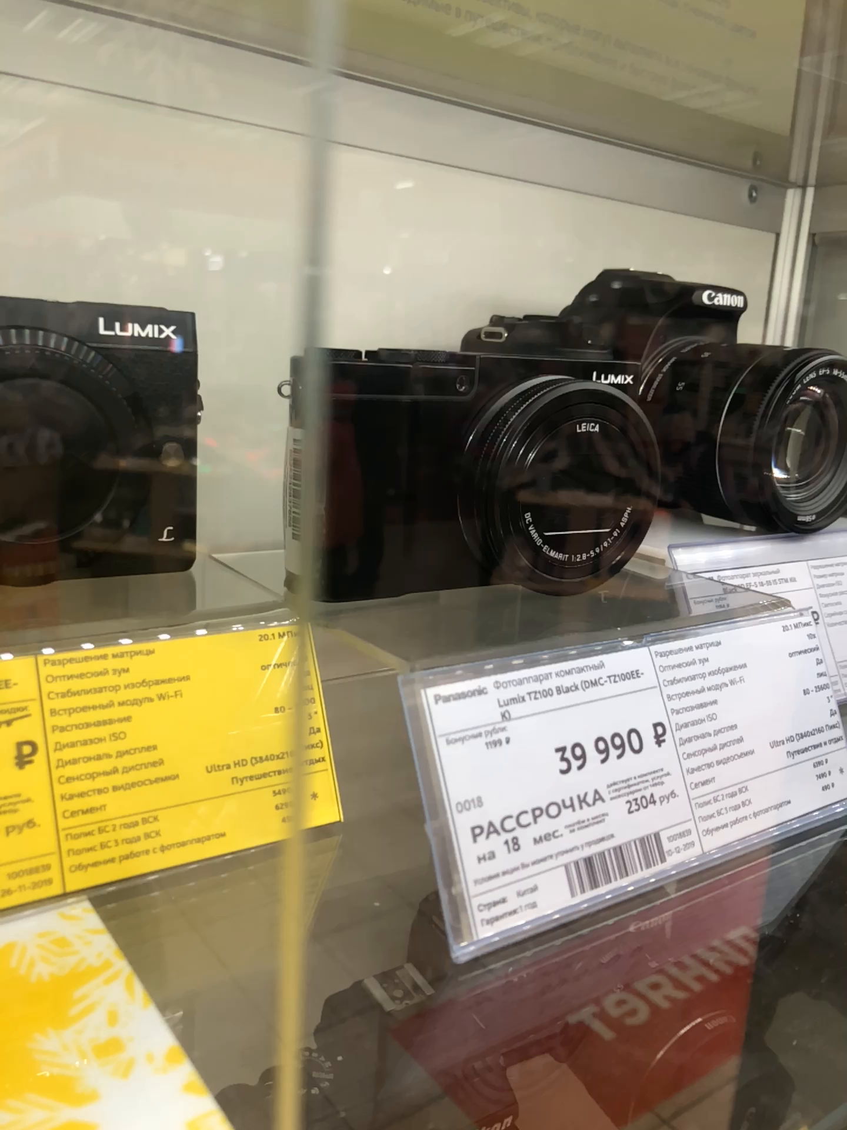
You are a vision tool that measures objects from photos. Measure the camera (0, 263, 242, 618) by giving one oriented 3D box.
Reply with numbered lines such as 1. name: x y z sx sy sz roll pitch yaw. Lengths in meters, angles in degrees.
1. camera: -0.107 -0.033 0.234 0.108 0.068 0.055 -5 15 -34

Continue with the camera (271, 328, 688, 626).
1. camera: 0.017 -0.027 0.263 0.111 0.068 0.038 -5 15 -34

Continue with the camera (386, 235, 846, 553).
1. camera: 0.097 -0.079 0.405 0.157 0.099 0.164 -5 17 -34
